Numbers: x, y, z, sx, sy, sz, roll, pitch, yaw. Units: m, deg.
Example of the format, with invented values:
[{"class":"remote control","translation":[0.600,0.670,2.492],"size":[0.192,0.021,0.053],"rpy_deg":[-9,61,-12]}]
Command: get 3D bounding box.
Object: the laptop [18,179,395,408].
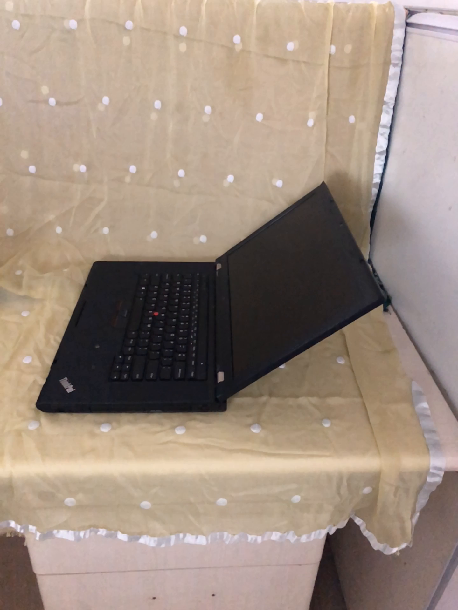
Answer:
[{"class":"laptop","translation":[-0.034,-0.041,0.753],"size":[0.424,0.156,0.350],"rpy_deg":[-2,33,0]}]
